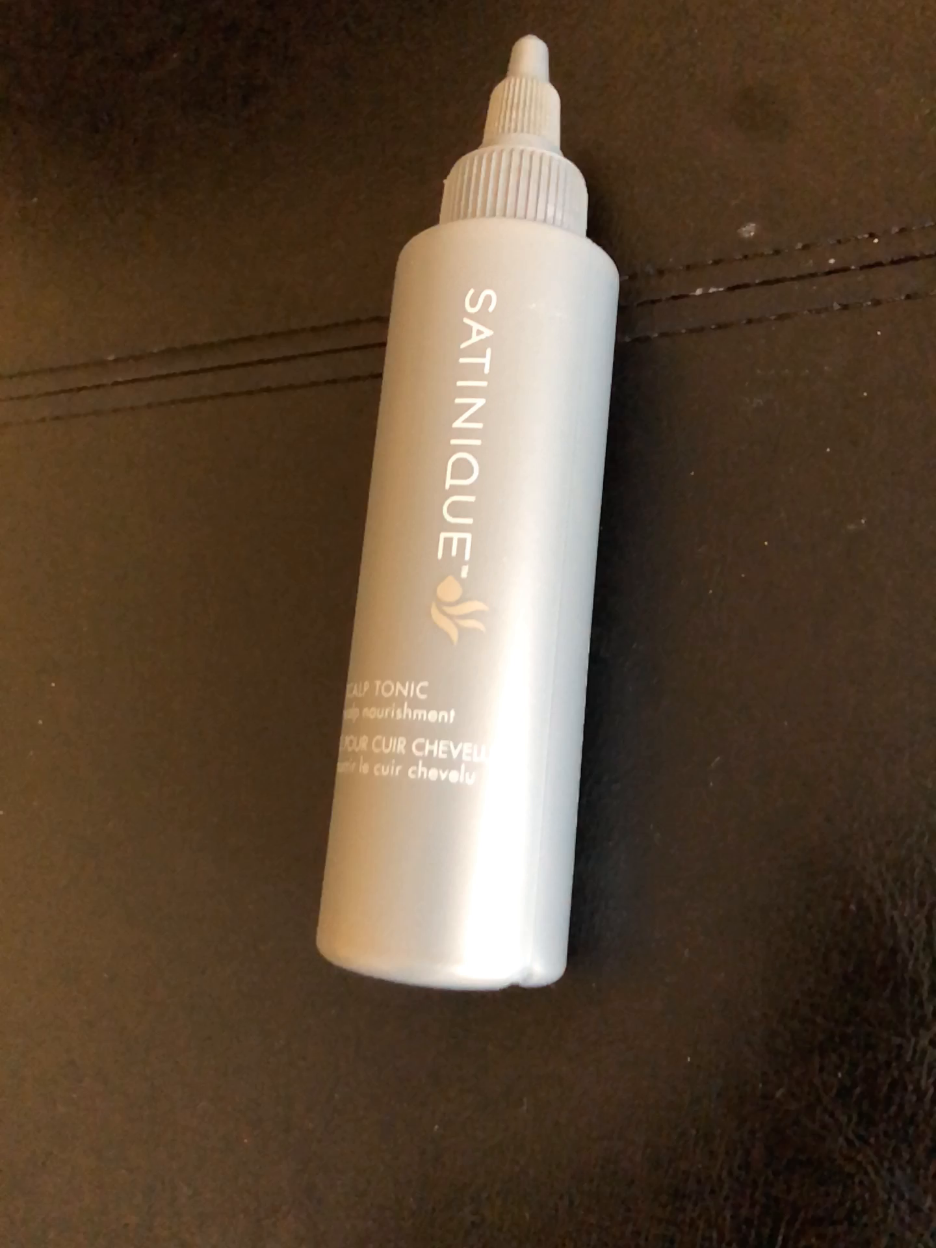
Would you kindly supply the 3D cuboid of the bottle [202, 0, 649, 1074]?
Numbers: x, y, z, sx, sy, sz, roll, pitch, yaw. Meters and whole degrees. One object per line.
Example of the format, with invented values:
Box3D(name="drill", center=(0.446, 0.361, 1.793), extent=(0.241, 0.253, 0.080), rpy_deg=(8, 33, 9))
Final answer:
Box3D(name="bottle", center=(-0.002, -0.015, 0.156), extent=(0.040, 0.040, 0.140), rpy_deg=(1, 80, 24))
